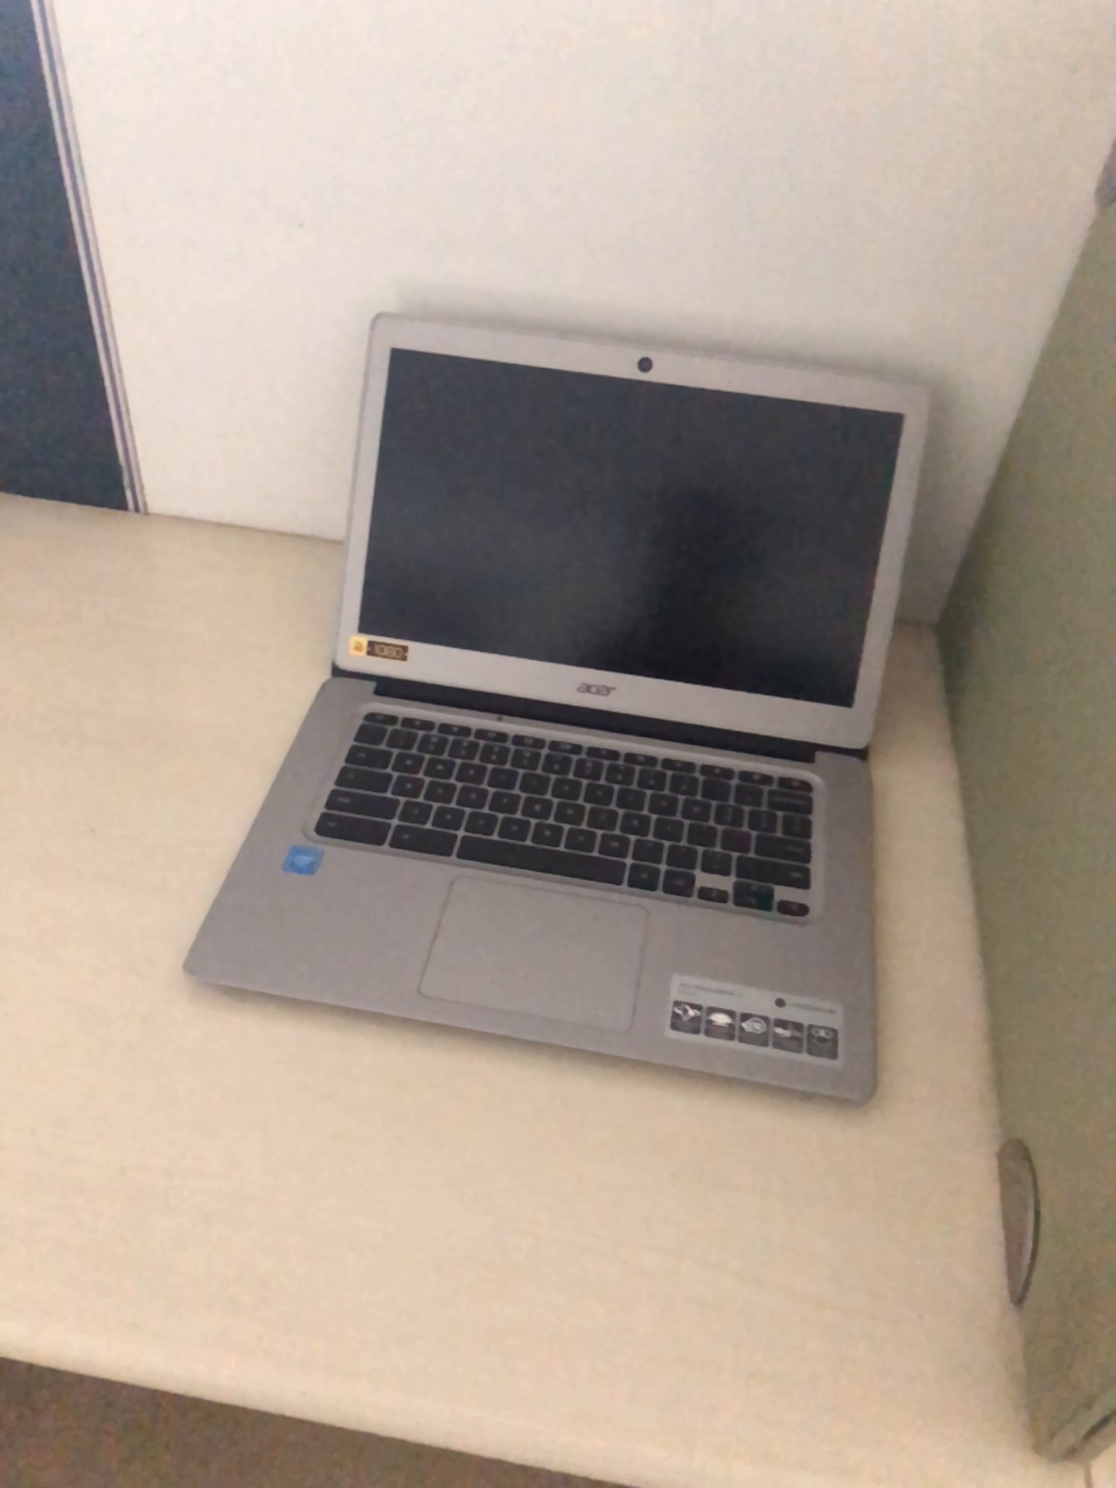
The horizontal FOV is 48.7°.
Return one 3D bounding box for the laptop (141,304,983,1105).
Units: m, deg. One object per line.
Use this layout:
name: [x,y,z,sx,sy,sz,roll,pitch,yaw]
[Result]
laptop: [0.023,-0.049,0.651,0.322,0.168,0.367,10,44,5]
